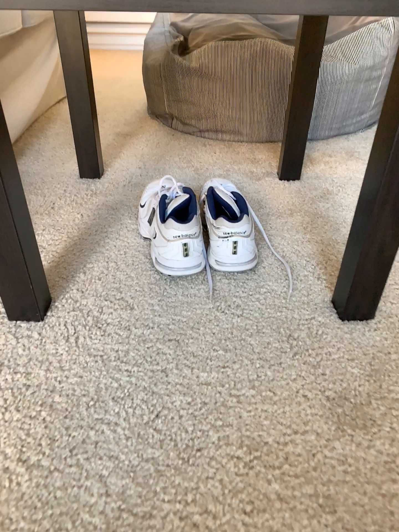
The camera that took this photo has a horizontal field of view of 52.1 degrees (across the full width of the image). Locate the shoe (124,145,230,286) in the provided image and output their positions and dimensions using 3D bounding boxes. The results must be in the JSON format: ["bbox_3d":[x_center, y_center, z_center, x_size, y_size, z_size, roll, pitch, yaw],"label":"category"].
[{"bbox_3d":[-0.052,-0.105,0.711,0.110,0.099,0.302,-9,37,-13],"label":"shoe"}]

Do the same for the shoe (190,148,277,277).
[{"bbox_3d":[0.046,-0.113,0.746,0.110,0.099,0.302,-2,36,-4],"label":"shoe"}]
